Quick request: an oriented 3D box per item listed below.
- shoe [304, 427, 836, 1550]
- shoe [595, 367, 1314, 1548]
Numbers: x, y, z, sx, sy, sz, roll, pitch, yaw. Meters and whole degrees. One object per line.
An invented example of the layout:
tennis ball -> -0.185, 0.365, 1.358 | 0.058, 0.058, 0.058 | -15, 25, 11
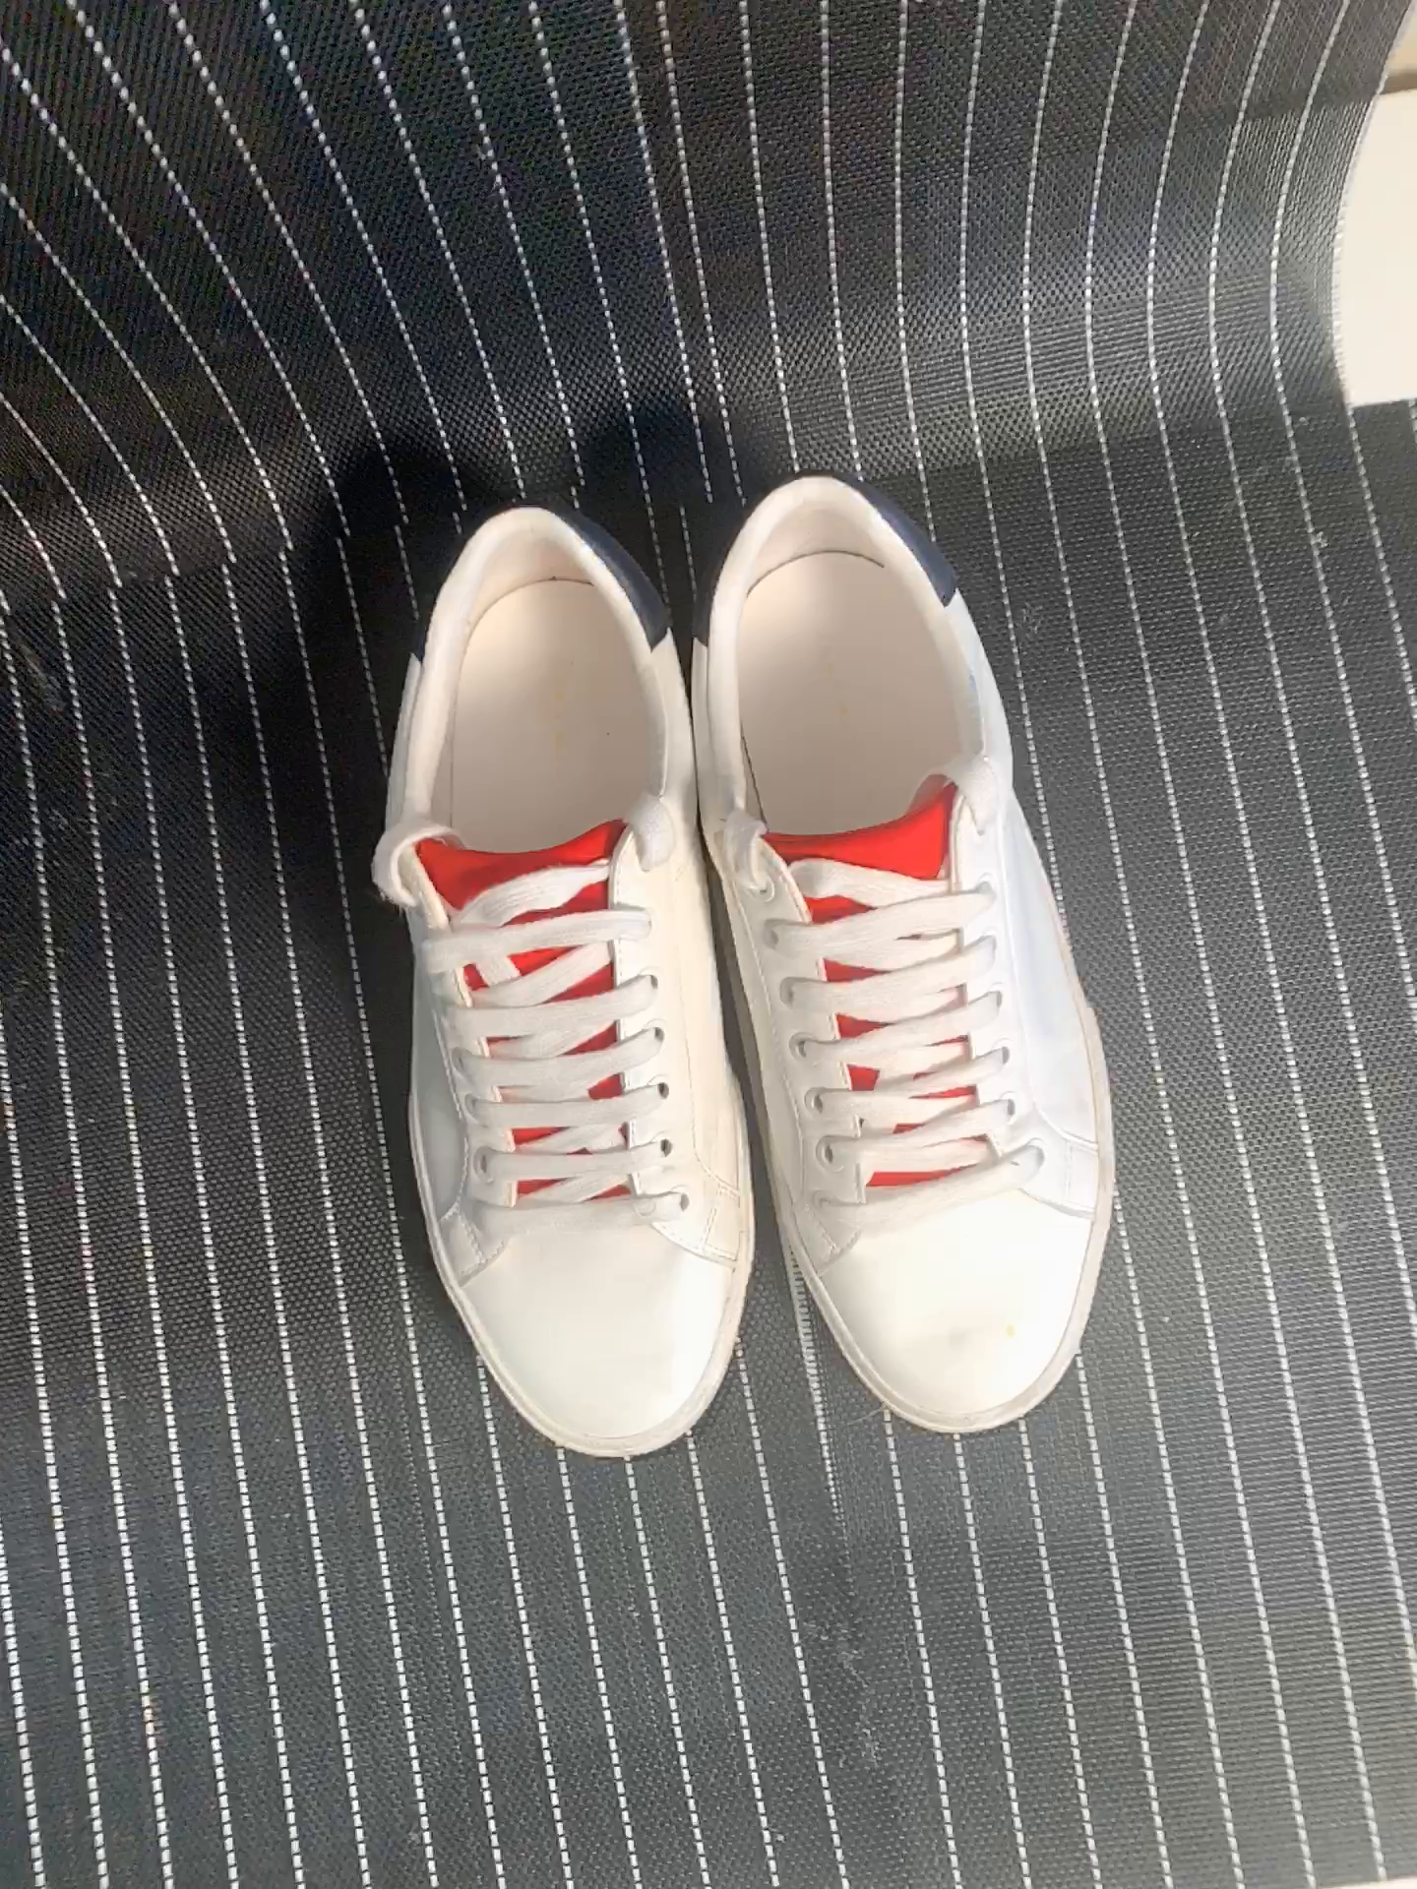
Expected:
shoe -> -0.038, 0.011, 0.432 | 0.120, 0.090, 0.290 | -6, 81, 3
shoe -> 0.061, 0.002, 0.422 | 0.120, 0.090, 0.290 | -13, 81, 2
